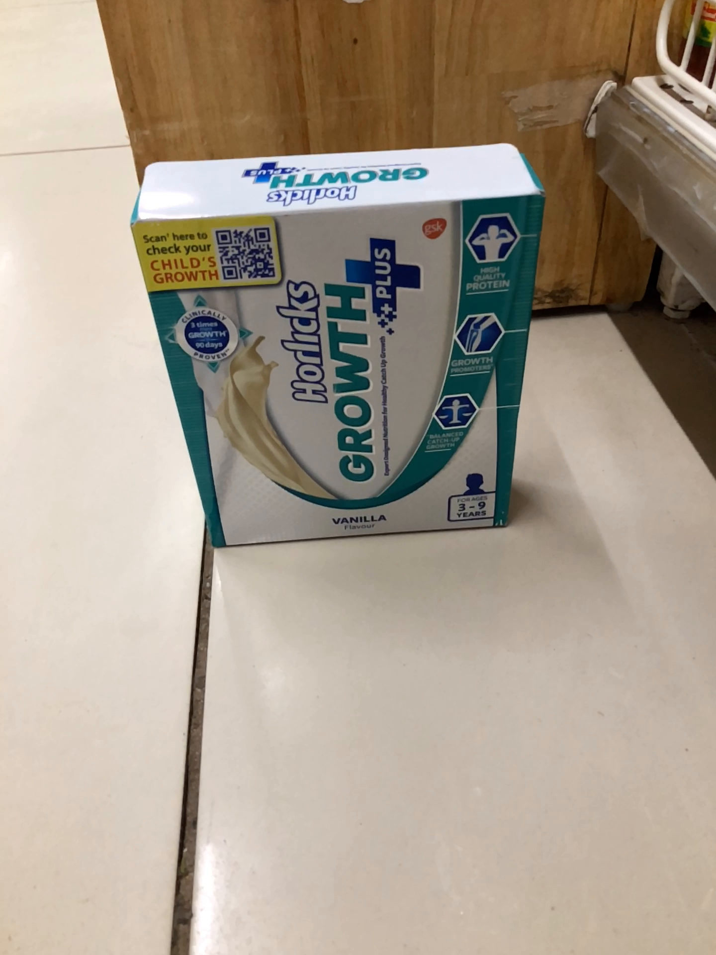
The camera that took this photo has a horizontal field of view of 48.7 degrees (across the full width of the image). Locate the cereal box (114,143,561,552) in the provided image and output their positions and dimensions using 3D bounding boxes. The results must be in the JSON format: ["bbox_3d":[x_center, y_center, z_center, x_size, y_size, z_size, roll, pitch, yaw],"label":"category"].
[{"bbox_3d":[-0.004,-0.047,0.336,0.150,0.159,0.050,-4,41,0],"label":"cereal box"}]
